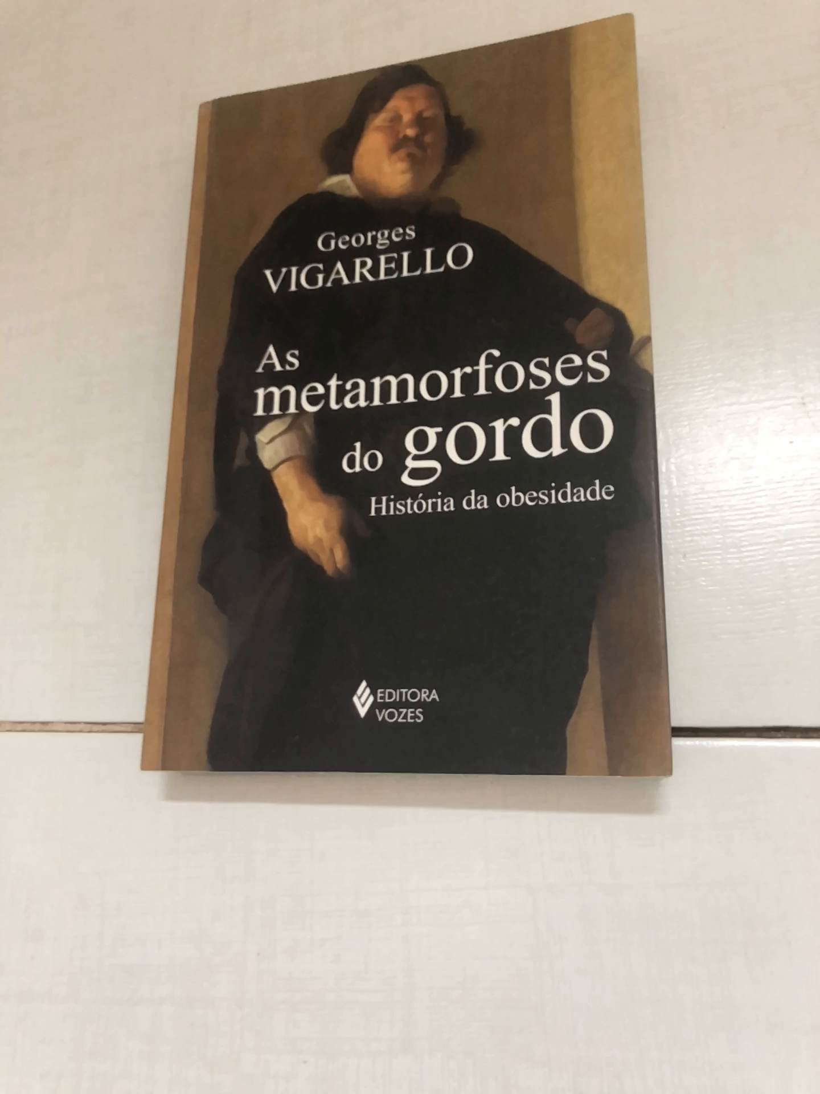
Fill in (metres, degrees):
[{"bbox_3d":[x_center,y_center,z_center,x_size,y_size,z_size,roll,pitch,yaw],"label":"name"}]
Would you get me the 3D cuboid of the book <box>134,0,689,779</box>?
[{"bbox_3d":[-0.001,-0.042,0.252,0.137,0.023,0.204,-4,75,16],"label":"book"}]
